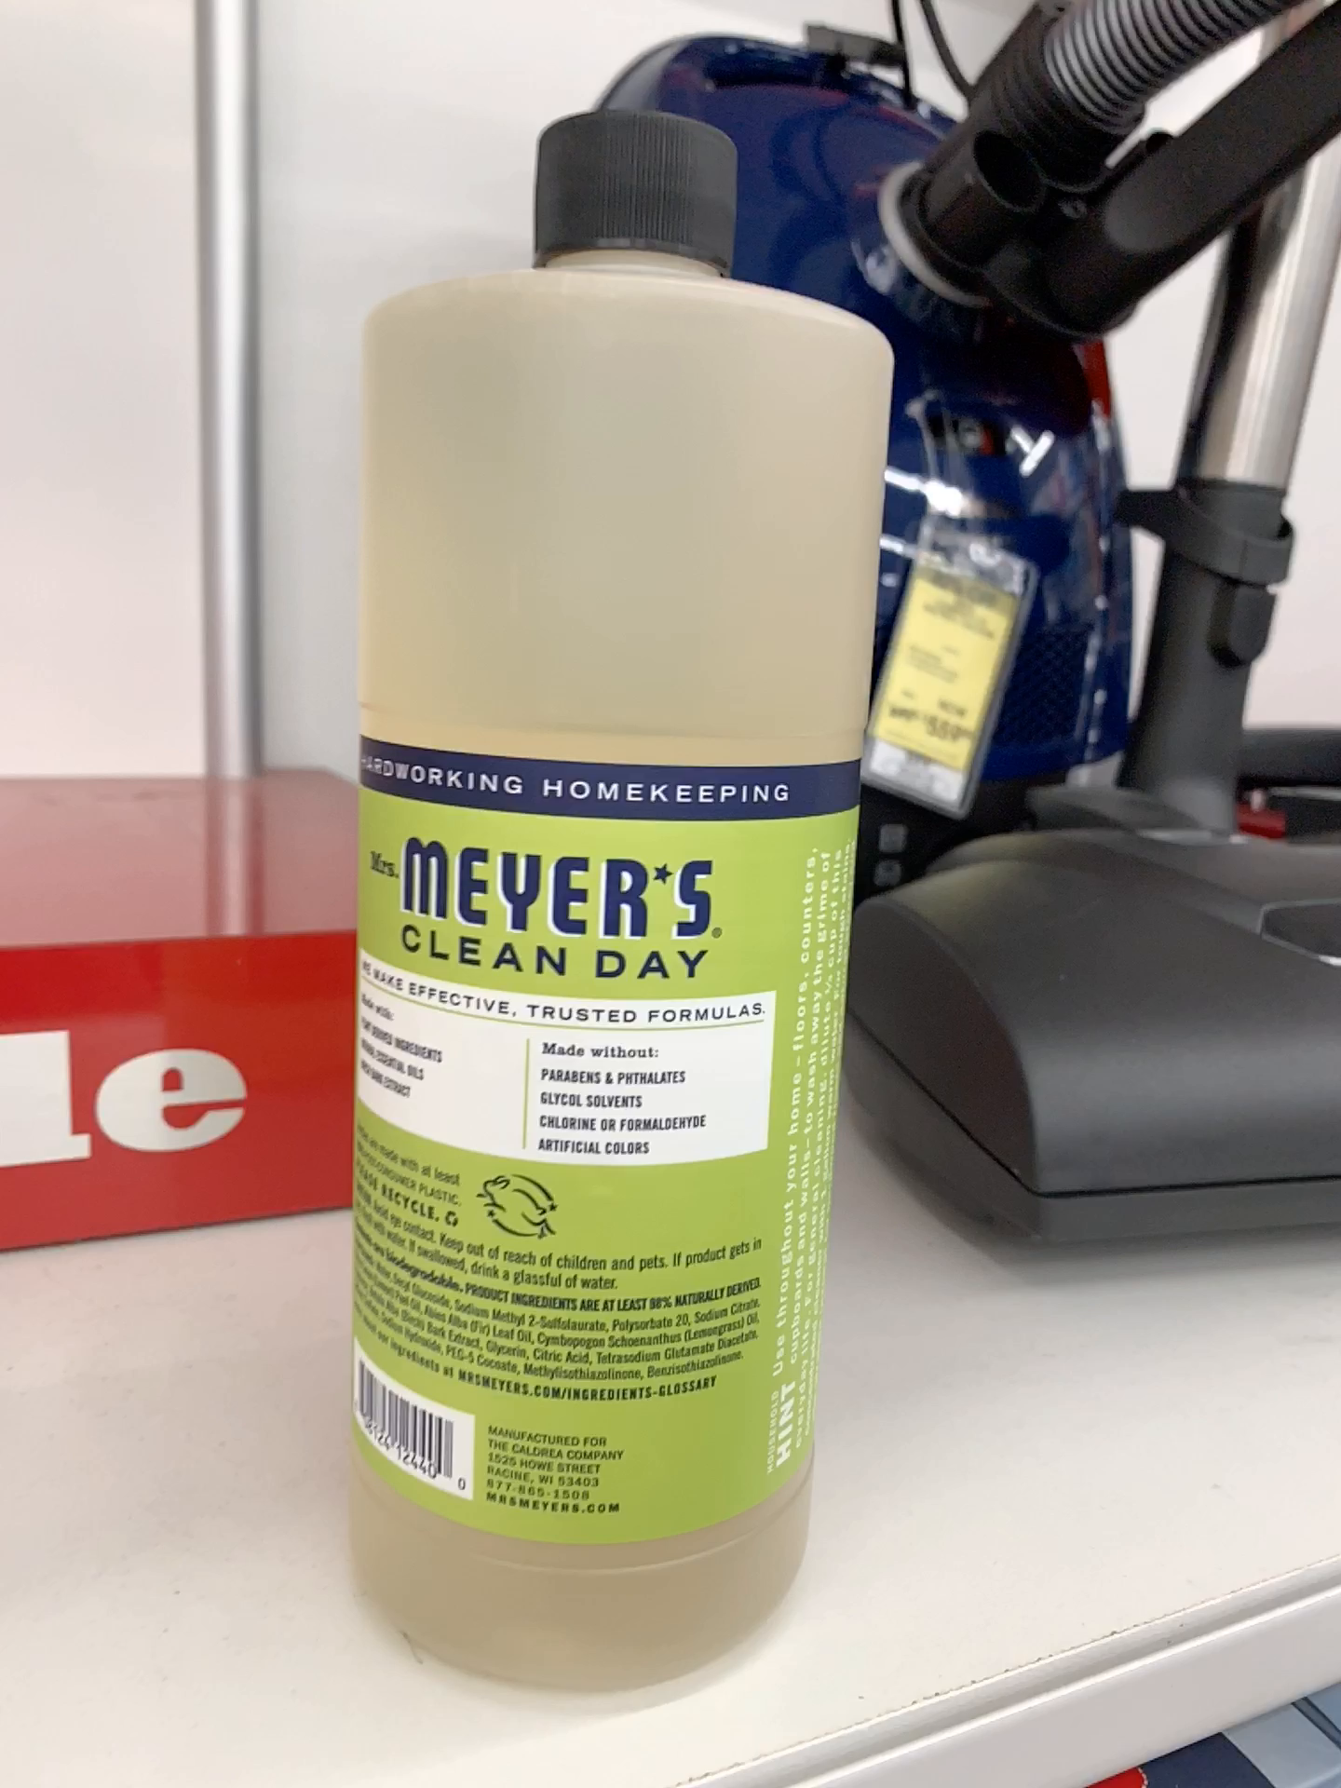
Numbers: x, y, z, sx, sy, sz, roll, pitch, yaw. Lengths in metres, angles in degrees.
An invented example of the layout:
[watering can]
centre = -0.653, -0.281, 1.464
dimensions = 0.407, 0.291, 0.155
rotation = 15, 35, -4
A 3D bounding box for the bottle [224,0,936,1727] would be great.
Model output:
[bottle]
centre = -0.010, -0.006, 0.237
dimensions = 0.090, 0.239, 0.090
rotation = 2, 10, 0
